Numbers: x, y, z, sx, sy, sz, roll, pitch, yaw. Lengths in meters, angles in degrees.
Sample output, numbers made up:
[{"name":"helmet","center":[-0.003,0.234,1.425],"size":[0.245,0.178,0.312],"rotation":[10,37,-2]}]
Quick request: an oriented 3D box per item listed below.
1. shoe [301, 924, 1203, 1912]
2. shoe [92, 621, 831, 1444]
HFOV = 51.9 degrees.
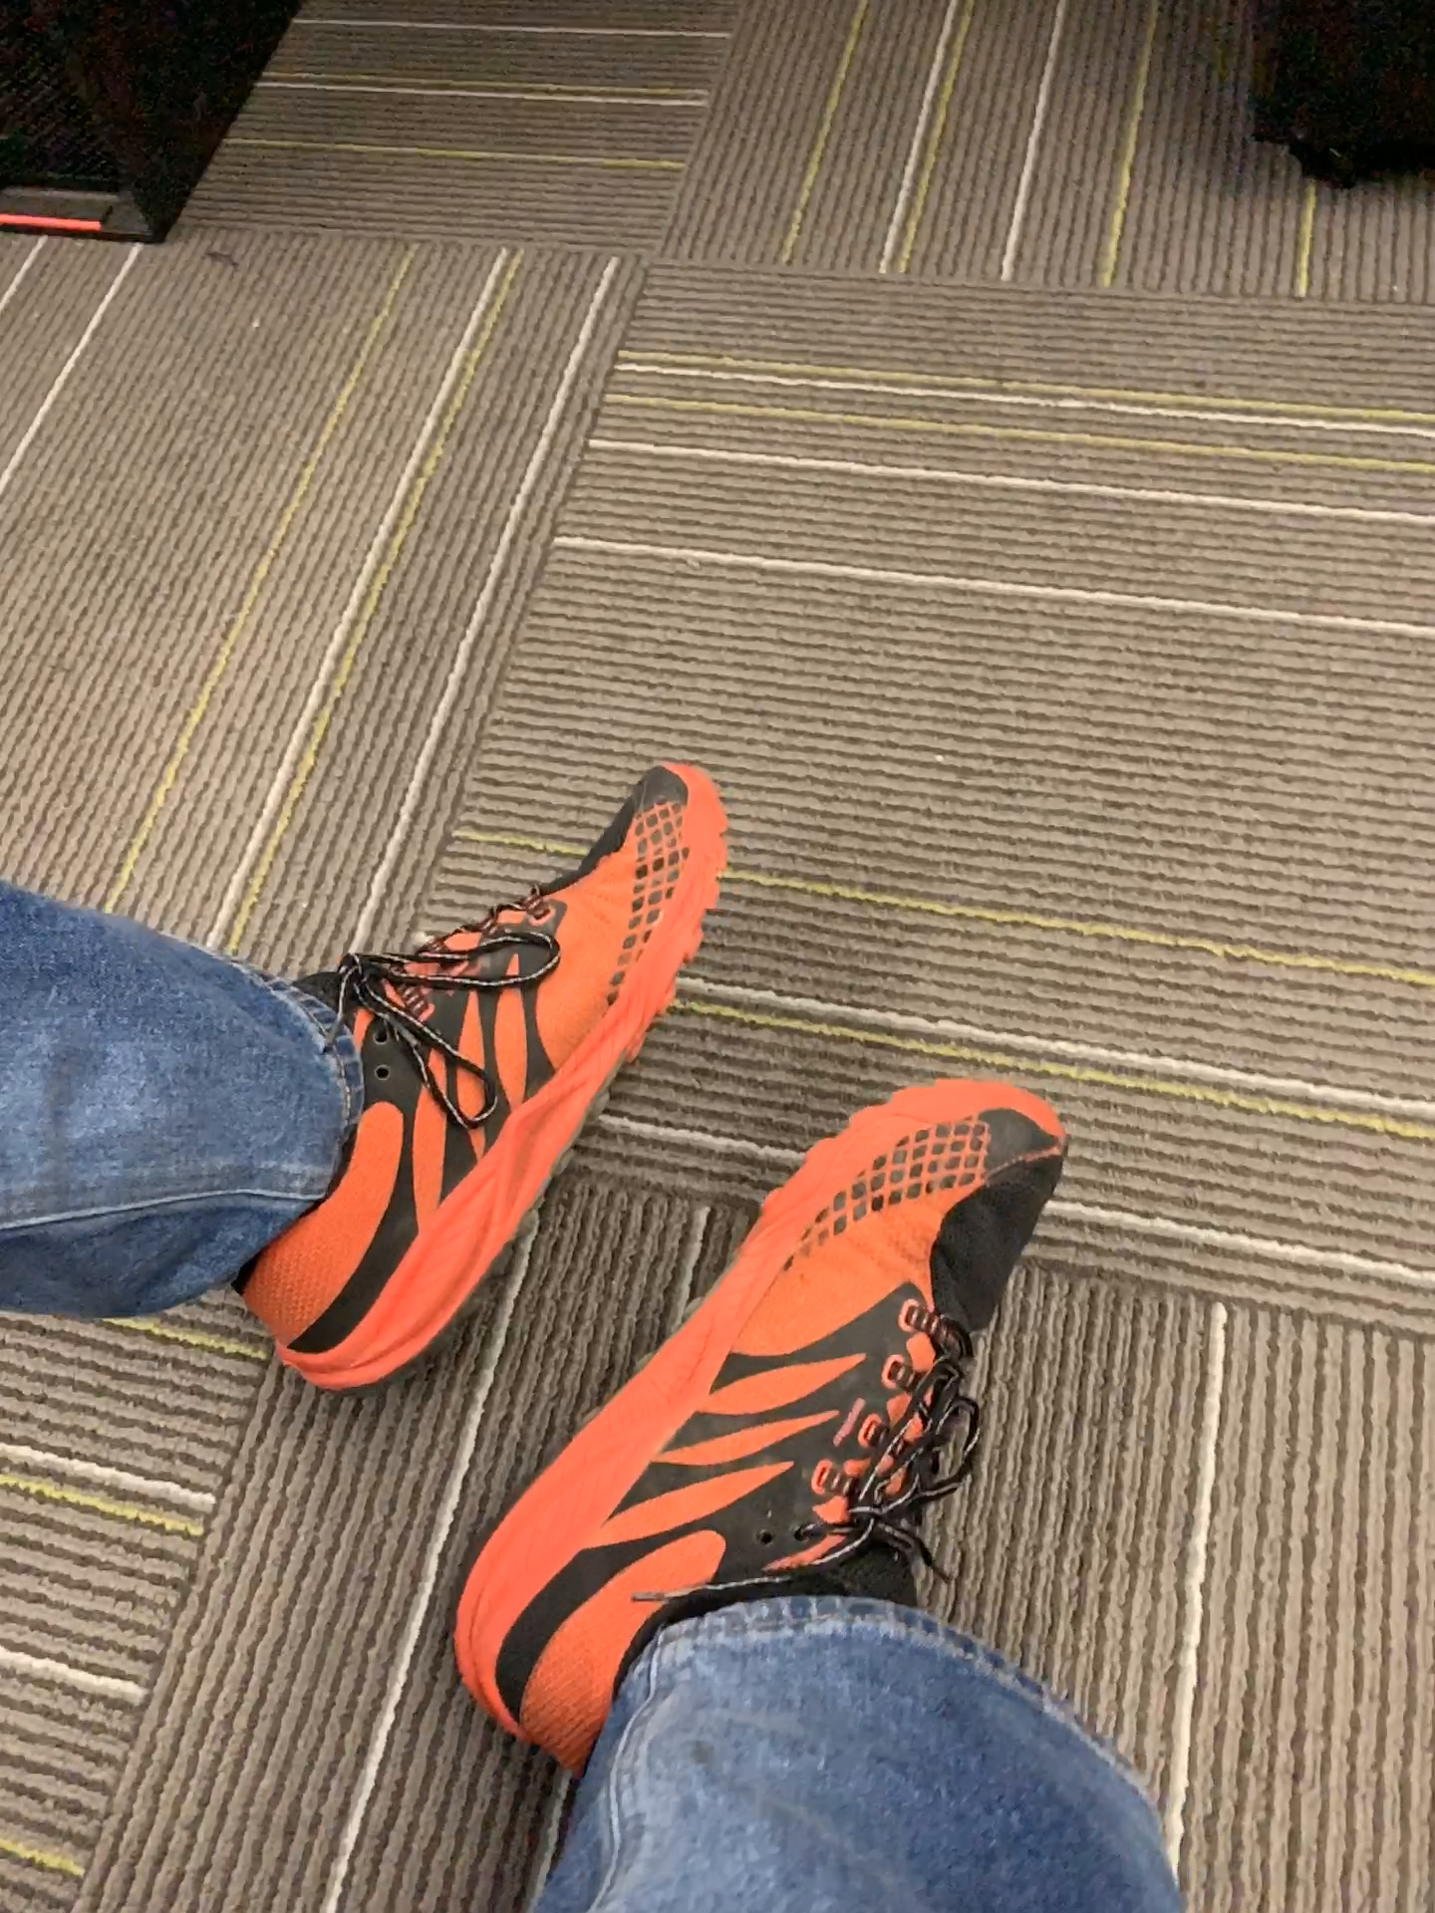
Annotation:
[{"name":"shoe","center":[0.030,0.161,0.535],"size":[0.317,0.138,0.109],"rotation":[-46,50,-15]},{"name":"shoe","center":[-0.104,0.022,0.612],"size":[0.108,0.128,0.308],"rotation":[42,70,-20]}]
